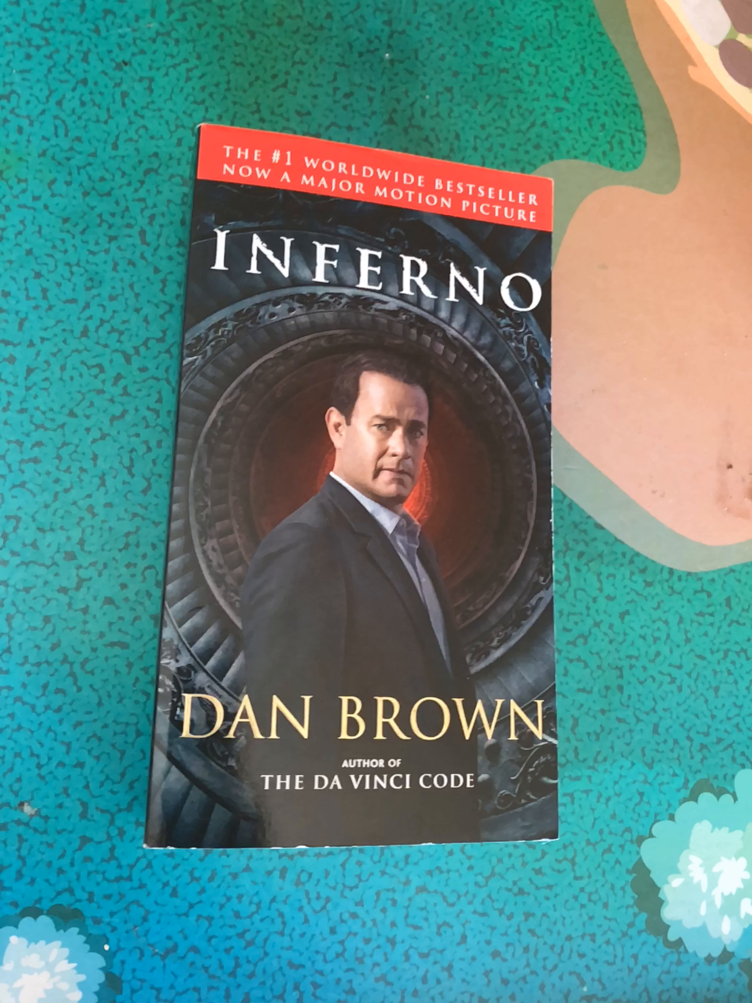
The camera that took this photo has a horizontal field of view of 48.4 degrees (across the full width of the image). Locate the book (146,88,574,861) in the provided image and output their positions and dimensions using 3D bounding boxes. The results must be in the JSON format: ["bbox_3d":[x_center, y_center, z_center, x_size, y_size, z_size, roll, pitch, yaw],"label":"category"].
[{"bbox_3d":[-0.005,-0.006,0.255,0.110,0.060,0.200,5,80,-15],"label":"book"}]
